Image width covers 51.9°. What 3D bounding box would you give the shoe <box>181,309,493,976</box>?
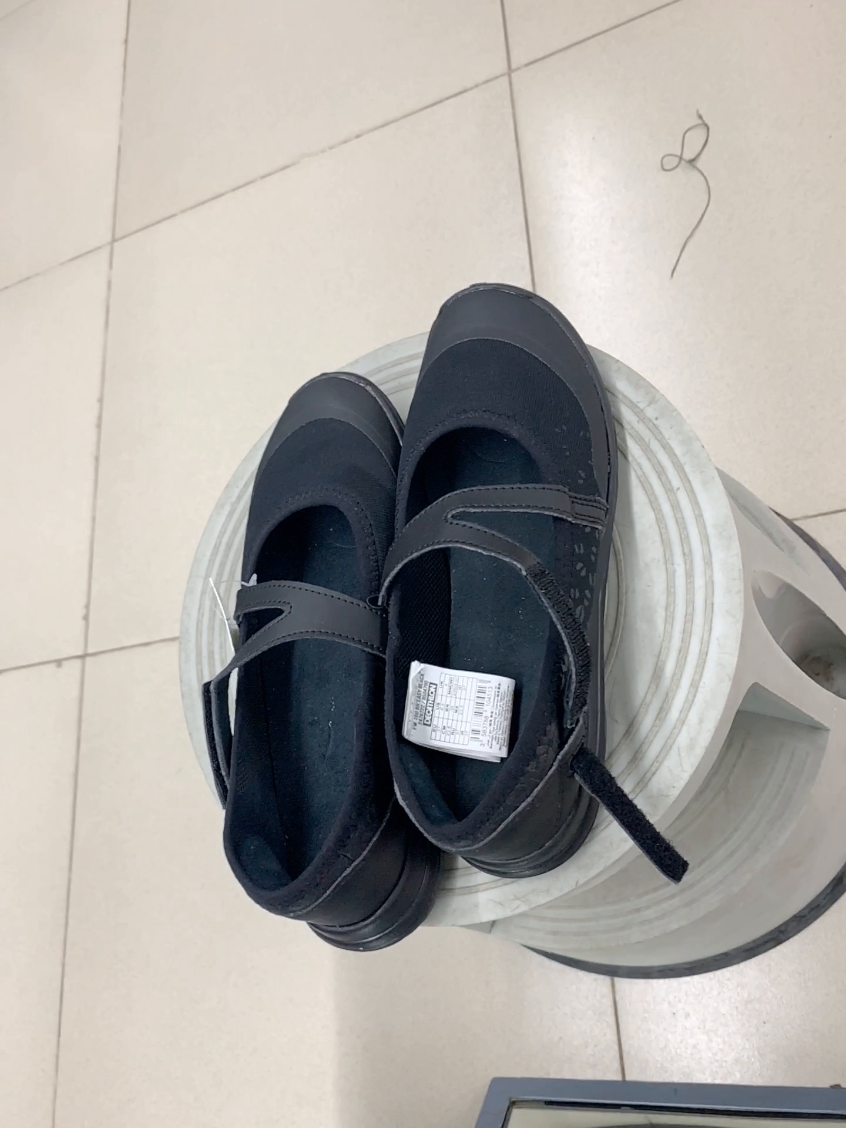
[{"bbox_3d":[-0.040,0.032,0.372,0.090,0.080,0.250,-13,69,22],"label":"shoe"}]

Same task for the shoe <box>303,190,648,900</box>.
[{"bbox_3d":[0.022,-0.005,0.347,0.100,0.080,0.250,-7,71,24],"label":"shoe"}]
